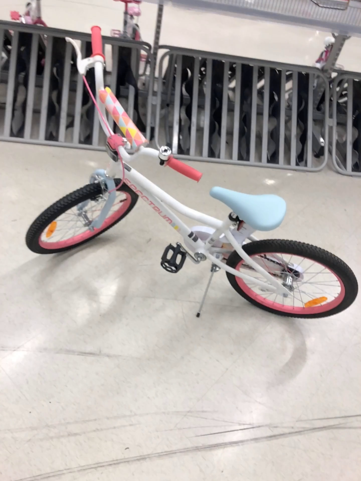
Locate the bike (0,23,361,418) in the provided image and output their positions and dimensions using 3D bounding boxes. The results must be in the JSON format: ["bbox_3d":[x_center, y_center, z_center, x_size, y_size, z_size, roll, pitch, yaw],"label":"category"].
[{"bbox_3d":[0.065,-0.018,1.344,1.251,0.961,0.635,12,44,0],"label":"bike"}]
